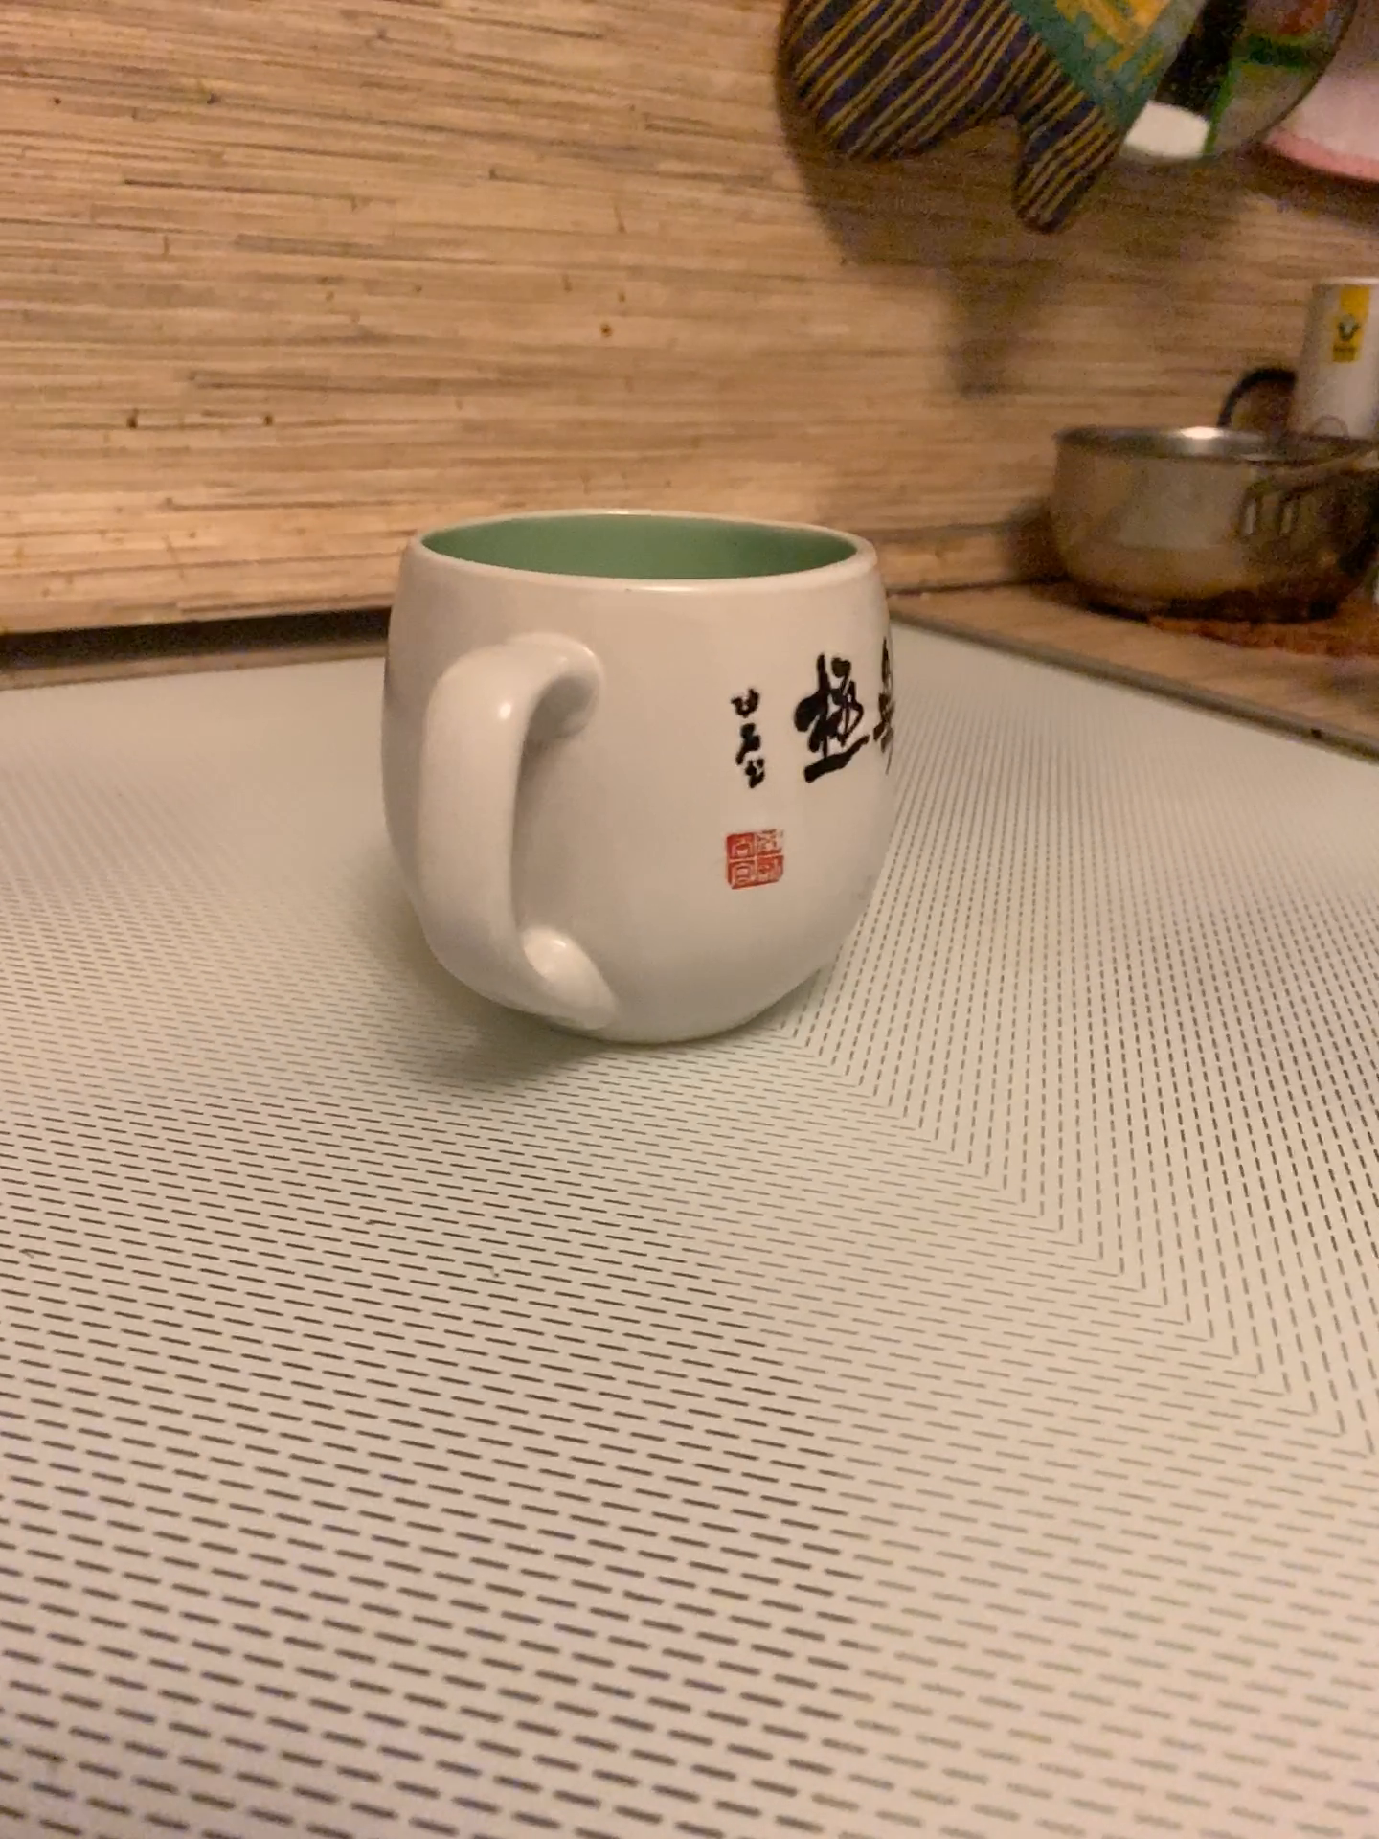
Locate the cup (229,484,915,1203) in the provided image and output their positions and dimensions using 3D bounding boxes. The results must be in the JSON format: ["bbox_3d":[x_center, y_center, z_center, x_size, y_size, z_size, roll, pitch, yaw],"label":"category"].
[{"bbox_3d":[-0.010,-0.026,0.266,0.088,0.091,0.124,6,22,10],"label":"cup"}]
